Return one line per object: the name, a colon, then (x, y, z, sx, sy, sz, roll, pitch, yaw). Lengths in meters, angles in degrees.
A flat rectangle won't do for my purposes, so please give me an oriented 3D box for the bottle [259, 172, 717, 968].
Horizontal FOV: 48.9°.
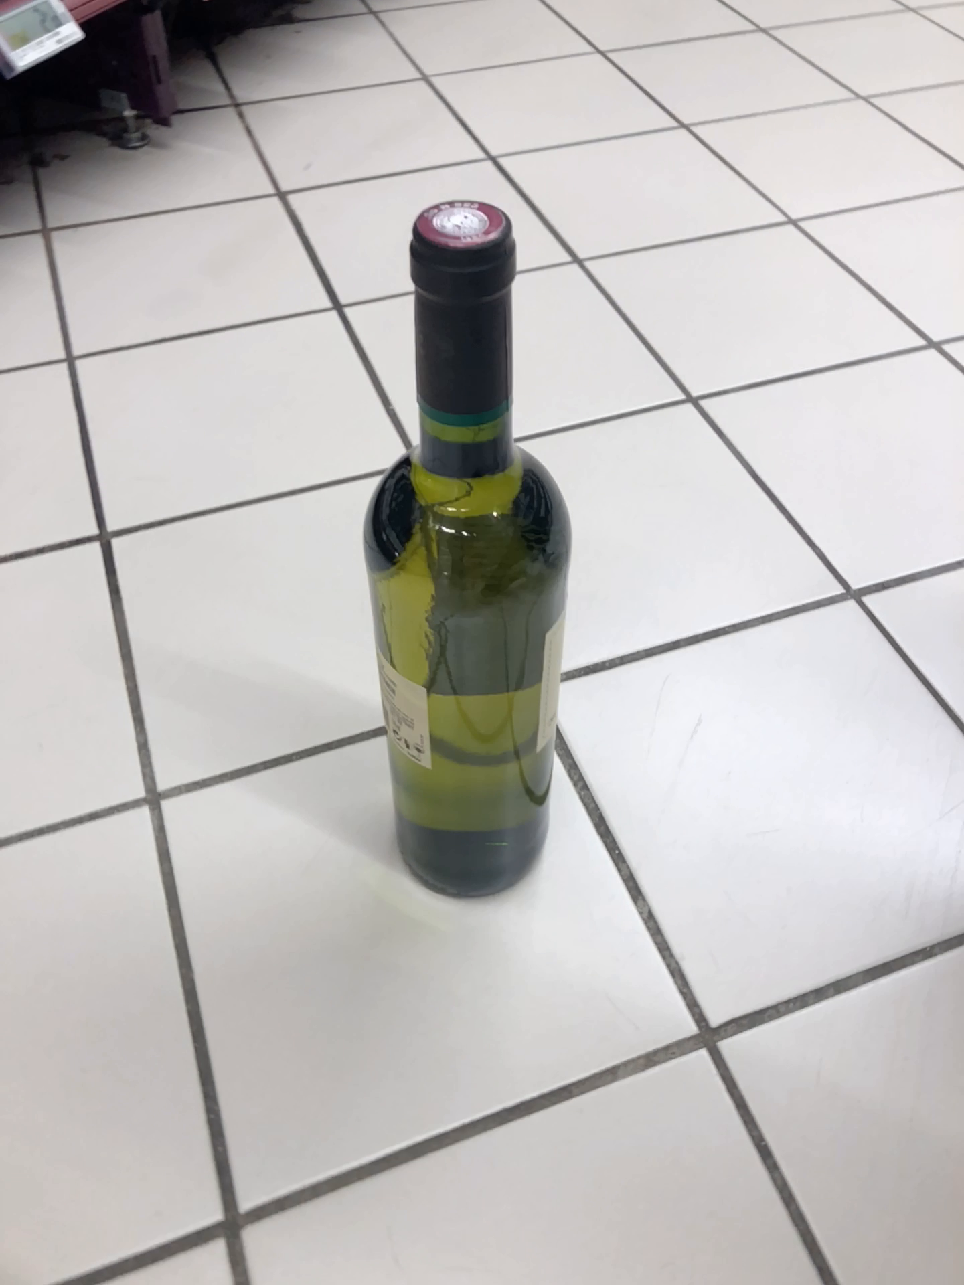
bottle: (-0.001, -0.002, 0.389, 0.090, 0.288, 0.090, 0, 48, 0)
